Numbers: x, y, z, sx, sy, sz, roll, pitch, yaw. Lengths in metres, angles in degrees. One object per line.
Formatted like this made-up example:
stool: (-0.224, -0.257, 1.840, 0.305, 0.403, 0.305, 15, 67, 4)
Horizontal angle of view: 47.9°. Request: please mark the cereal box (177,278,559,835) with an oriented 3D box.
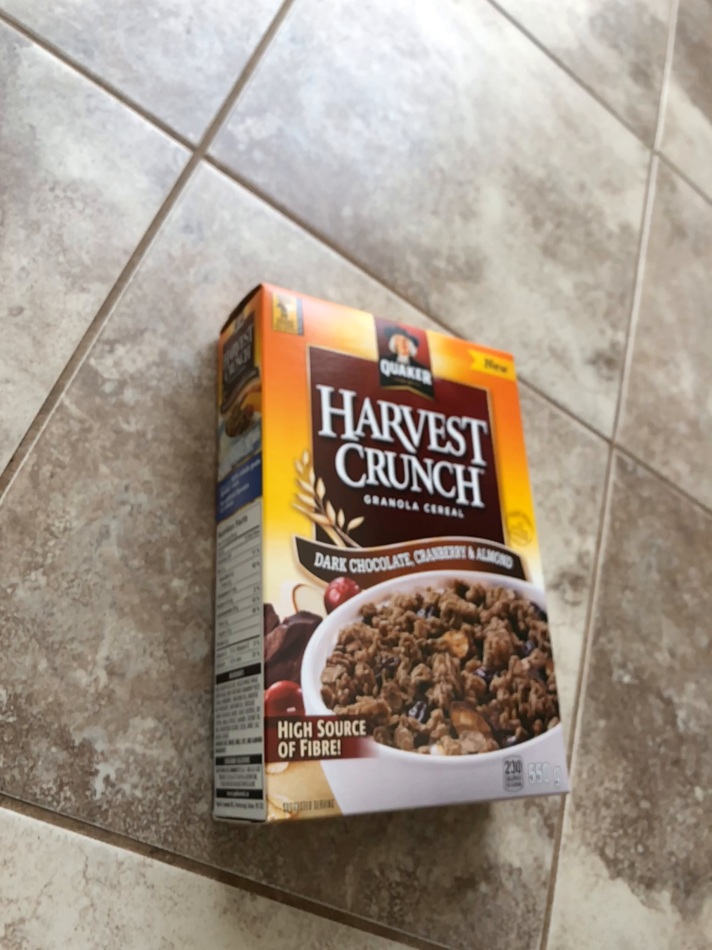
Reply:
cereal box: (0.005, 0.044, 0.422, 0.171, 0.070, 0.250, 10, 67, -30)
